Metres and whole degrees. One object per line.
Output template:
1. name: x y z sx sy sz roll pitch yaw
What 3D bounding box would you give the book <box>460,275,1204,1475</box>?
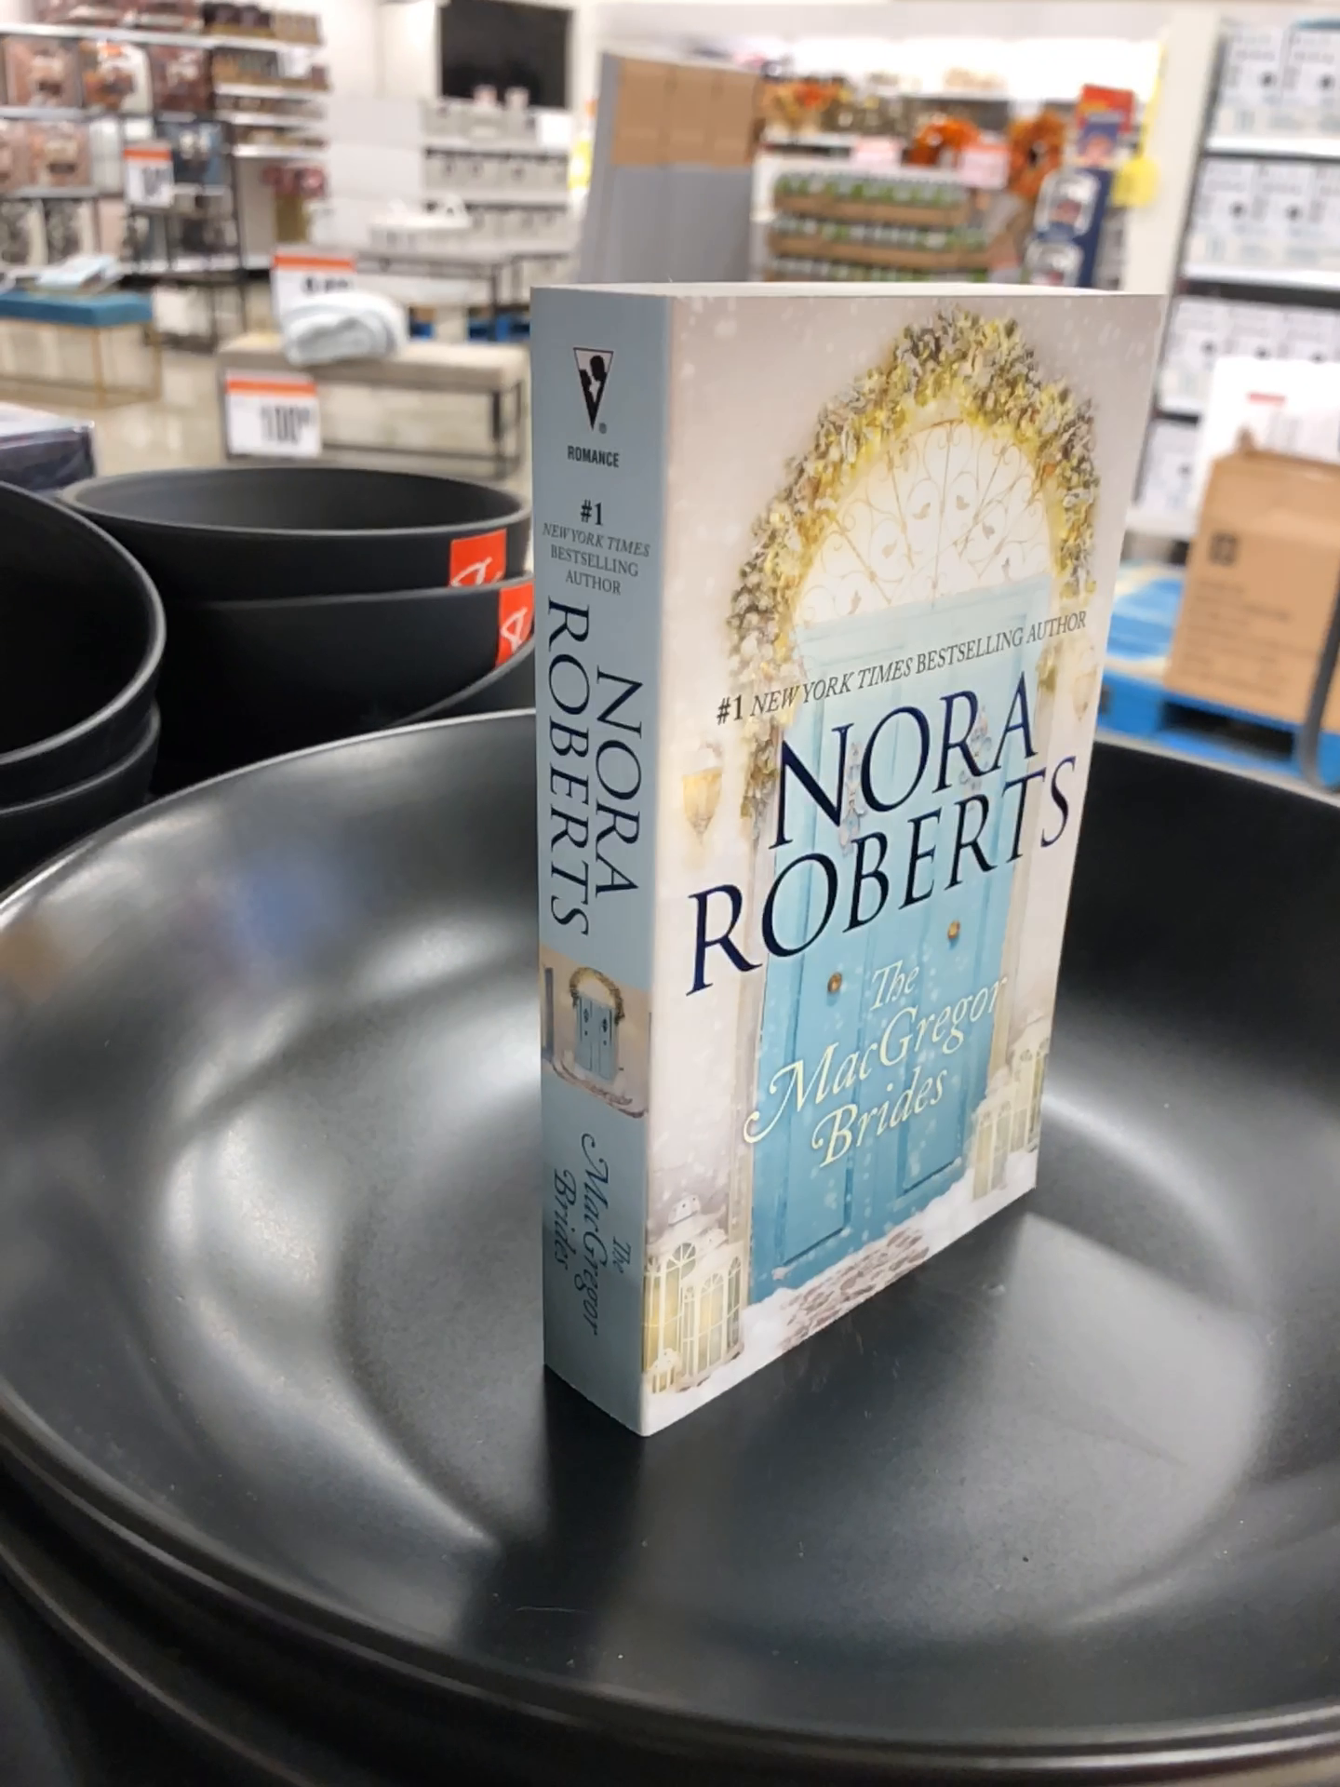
1. book: 0.026 -0.008 0.245 0.111 0.168 0.040 -20 32 -39
